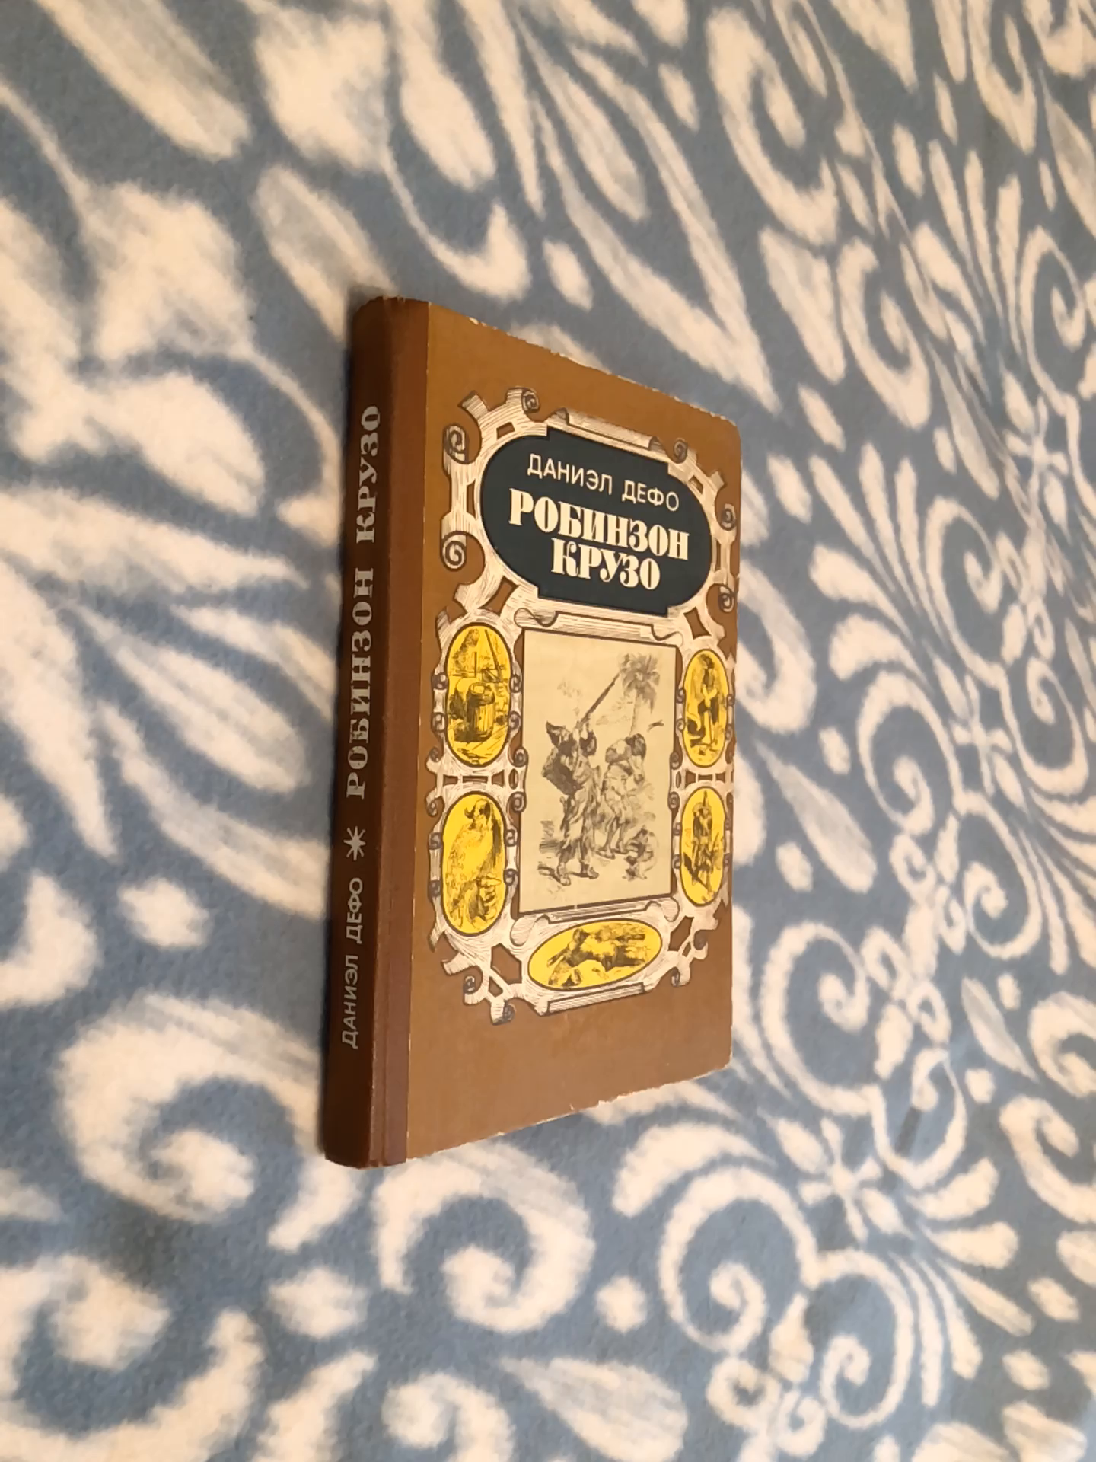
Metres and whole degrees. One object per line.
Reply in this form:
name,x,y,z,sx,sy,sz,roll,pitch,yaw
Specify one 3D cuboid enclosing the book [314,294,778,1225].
book,0.011,0.009,0.388,0.179,0.024,0.242,3,88,-46
